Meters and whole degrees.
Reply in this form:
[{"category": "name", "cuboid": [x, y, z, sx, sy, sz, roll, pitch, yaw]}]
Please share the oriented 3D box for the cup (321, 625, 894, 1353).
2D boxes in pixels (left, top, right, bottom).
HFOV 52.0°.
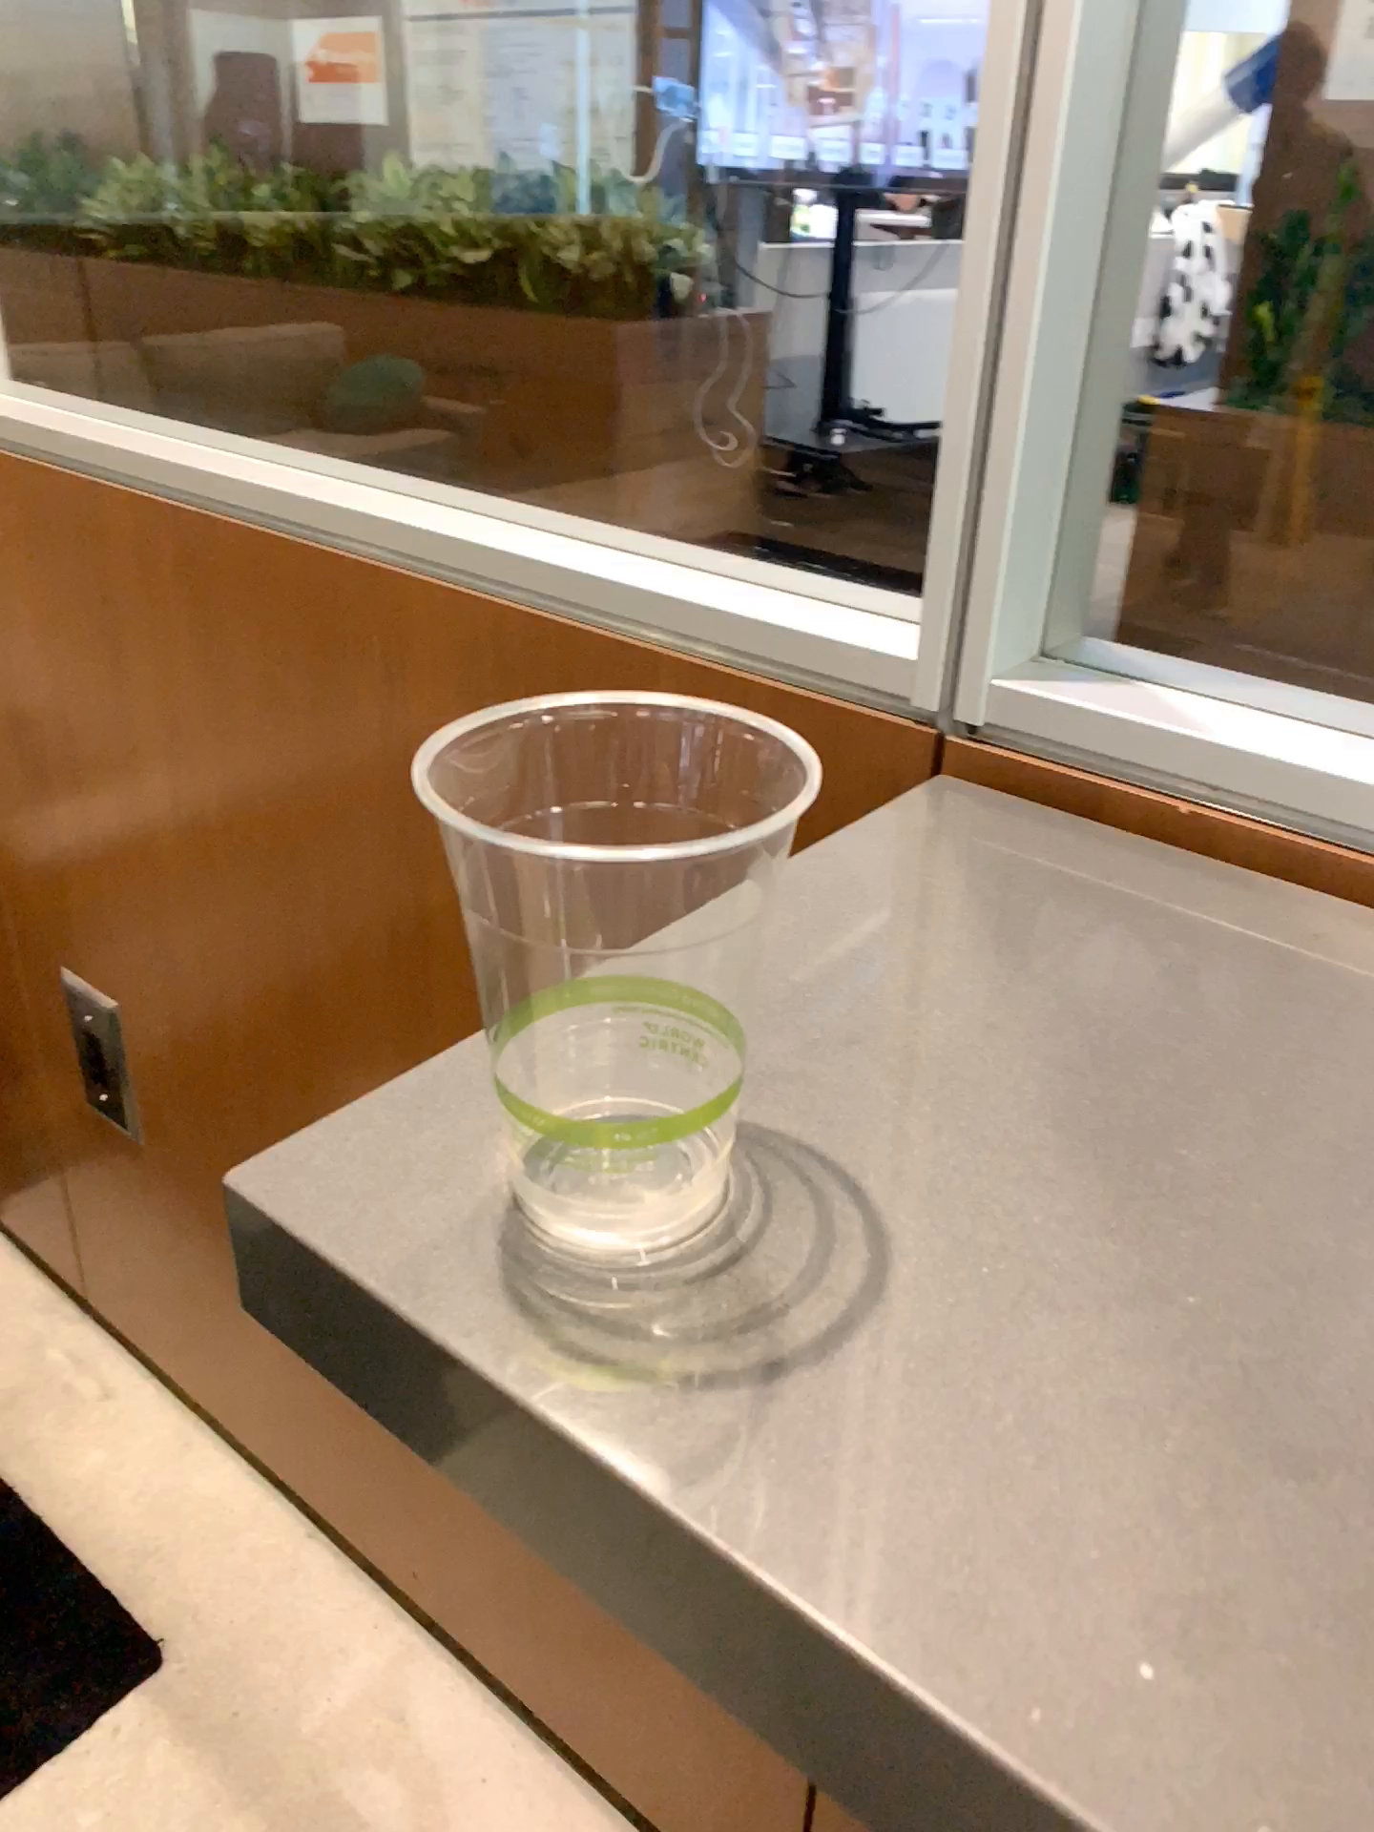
[{"category": "cup", "cuboid": [-0.020, 0.011, 0.343, 0.090, 0.129, 0.090, 2, 28, -1]}]
